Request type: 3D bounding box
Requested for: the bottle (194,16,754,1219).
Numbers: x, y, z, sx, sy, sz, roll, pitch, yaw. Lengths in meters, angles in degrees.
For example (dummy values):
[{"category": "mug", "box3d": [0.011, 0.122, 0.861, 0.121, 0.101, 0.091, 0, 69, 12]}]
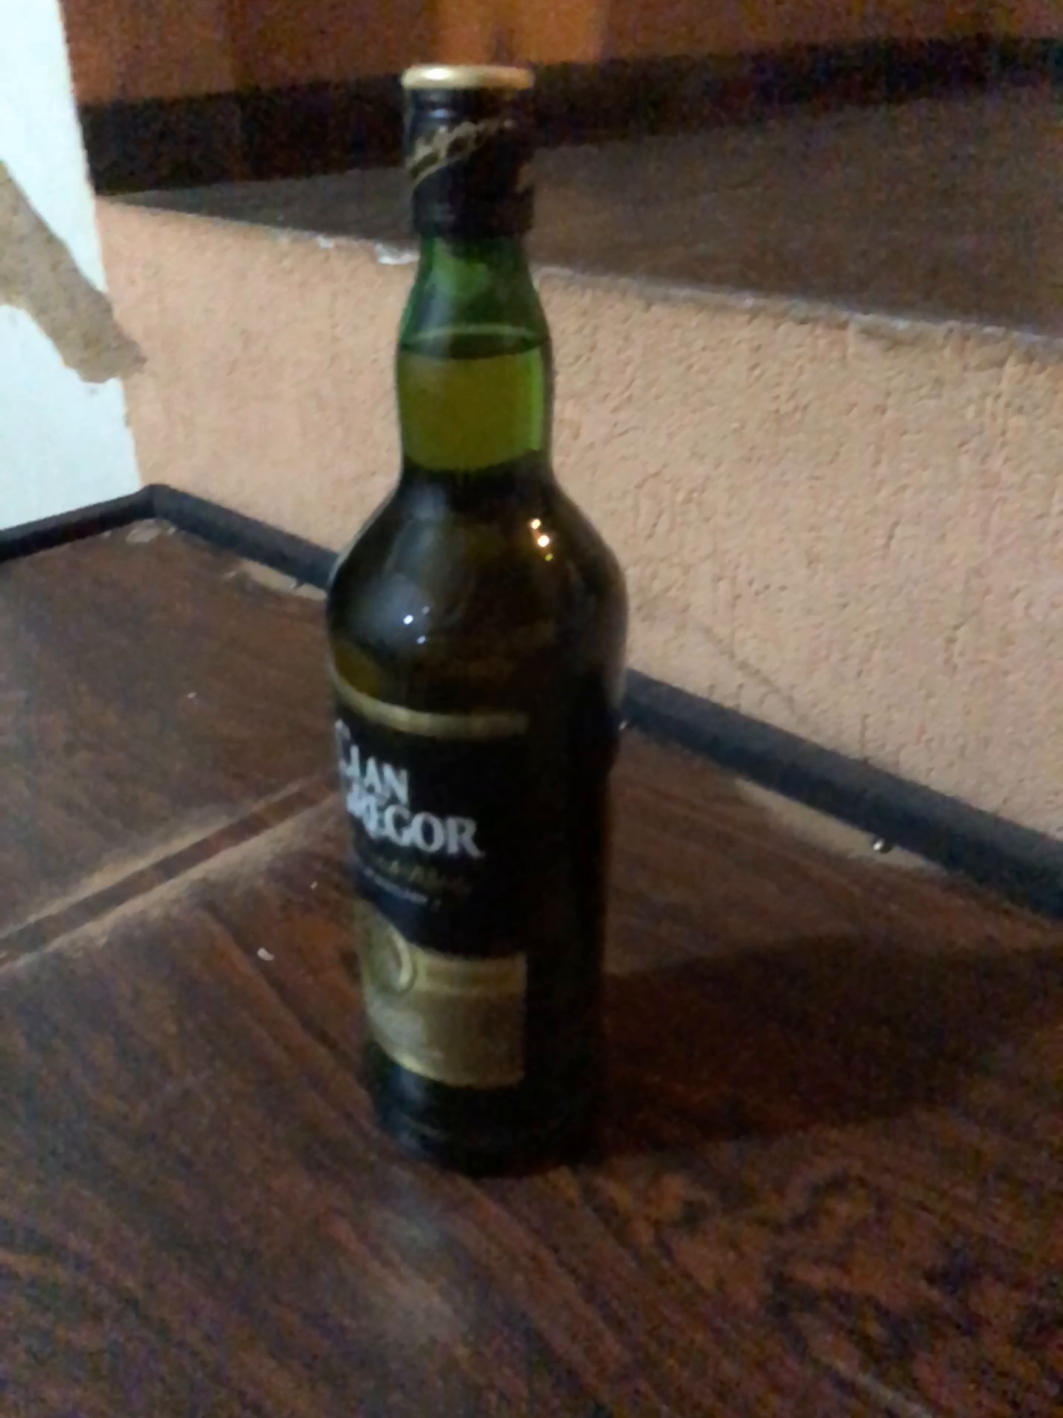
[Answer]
[{"category": "bottle", "box3d": [-0.010, -0.011, 0.323, 0.080, 0.308, 0.090, -23, 37, -32]}]
